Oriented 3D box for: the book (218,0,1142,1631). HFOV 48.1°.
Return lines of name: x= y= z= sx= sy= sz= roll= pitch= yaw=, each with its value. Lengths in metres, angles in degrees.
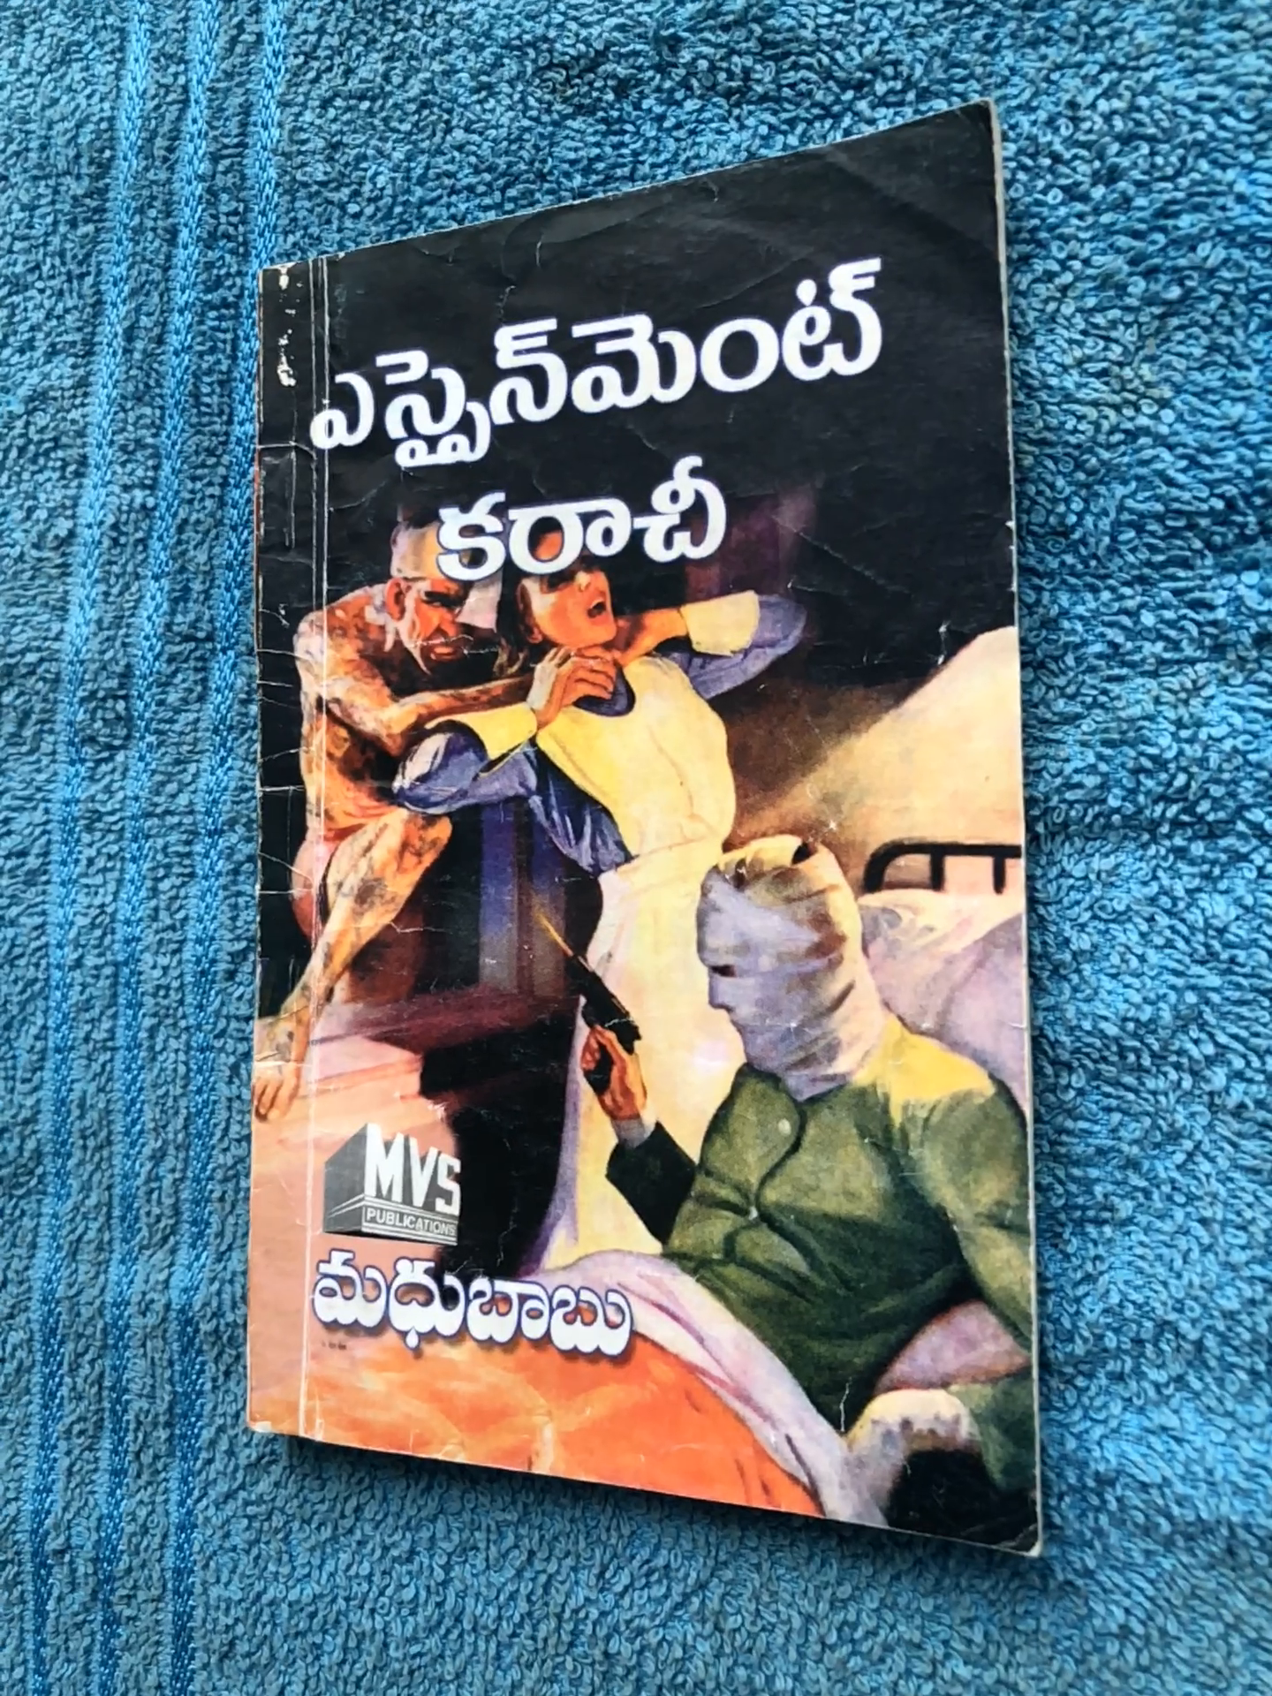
book: x=0.001 y=-0.005 z=0.175 sx=0.110 sy=0.020 sz=0.170 roll=-2 pitch=86 yaw=21
